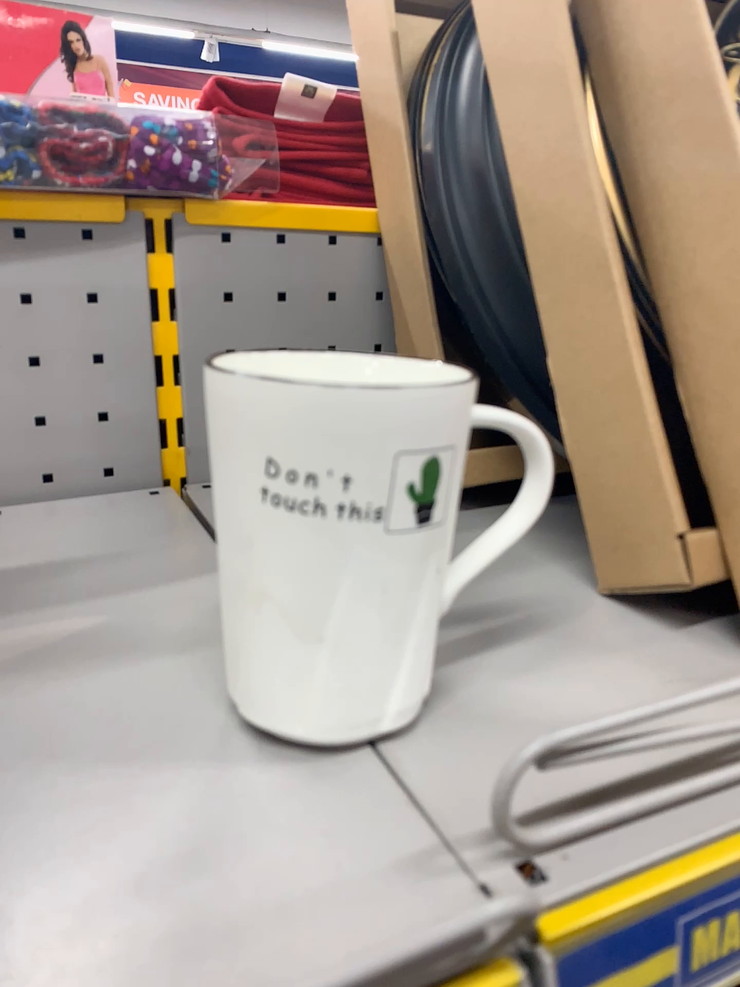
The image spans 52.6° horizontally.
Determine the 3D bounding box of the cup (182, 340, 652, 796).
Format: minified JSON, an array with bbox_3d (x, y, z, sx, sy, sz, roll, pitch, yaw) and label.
[{"bbox_3d":[0.009,0.013,0.267,0.130,0.120,0.090,-6,19,-21],"label":"cup"}]
